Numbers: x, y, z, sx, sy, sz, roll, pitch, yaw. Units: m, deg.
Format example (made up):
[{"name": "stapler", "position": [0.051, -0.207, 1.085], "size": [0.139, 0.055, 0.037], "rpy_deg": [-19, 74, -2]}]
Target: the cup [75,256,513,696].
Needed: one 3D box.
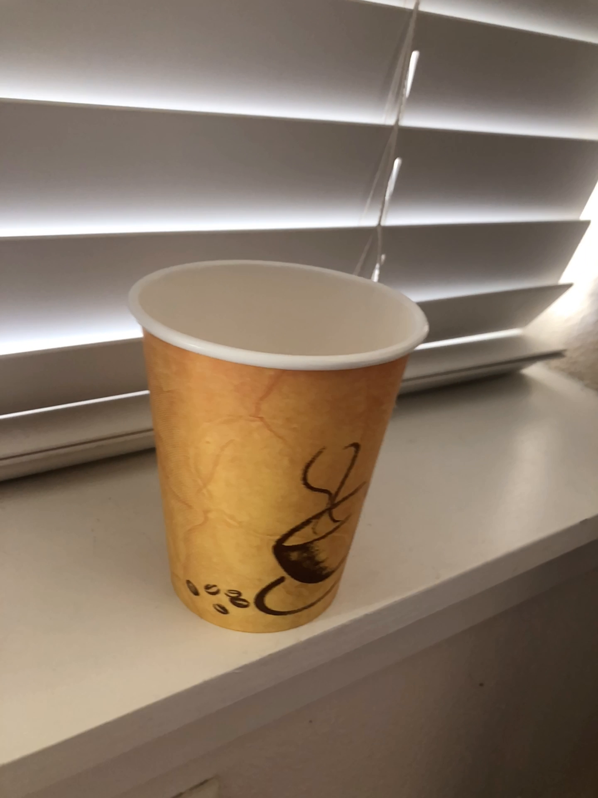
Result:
[{"name": "cup", "position": [-0.010, 0.011, 0.215], "size": [0.095, 0.088, 0.094], "rpy_deg": [5, 25, -2]}]
